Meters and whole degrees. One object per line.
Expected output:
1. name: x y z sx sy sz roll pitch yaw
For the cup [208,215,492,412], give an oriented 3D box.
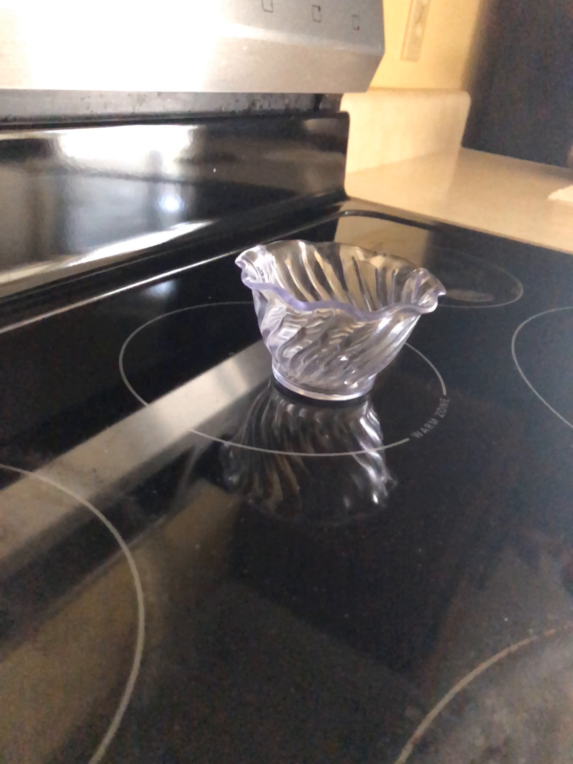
1. cup: 0.020 -0.035 0.294 0.100 0.052 0.101 6 28 -3
